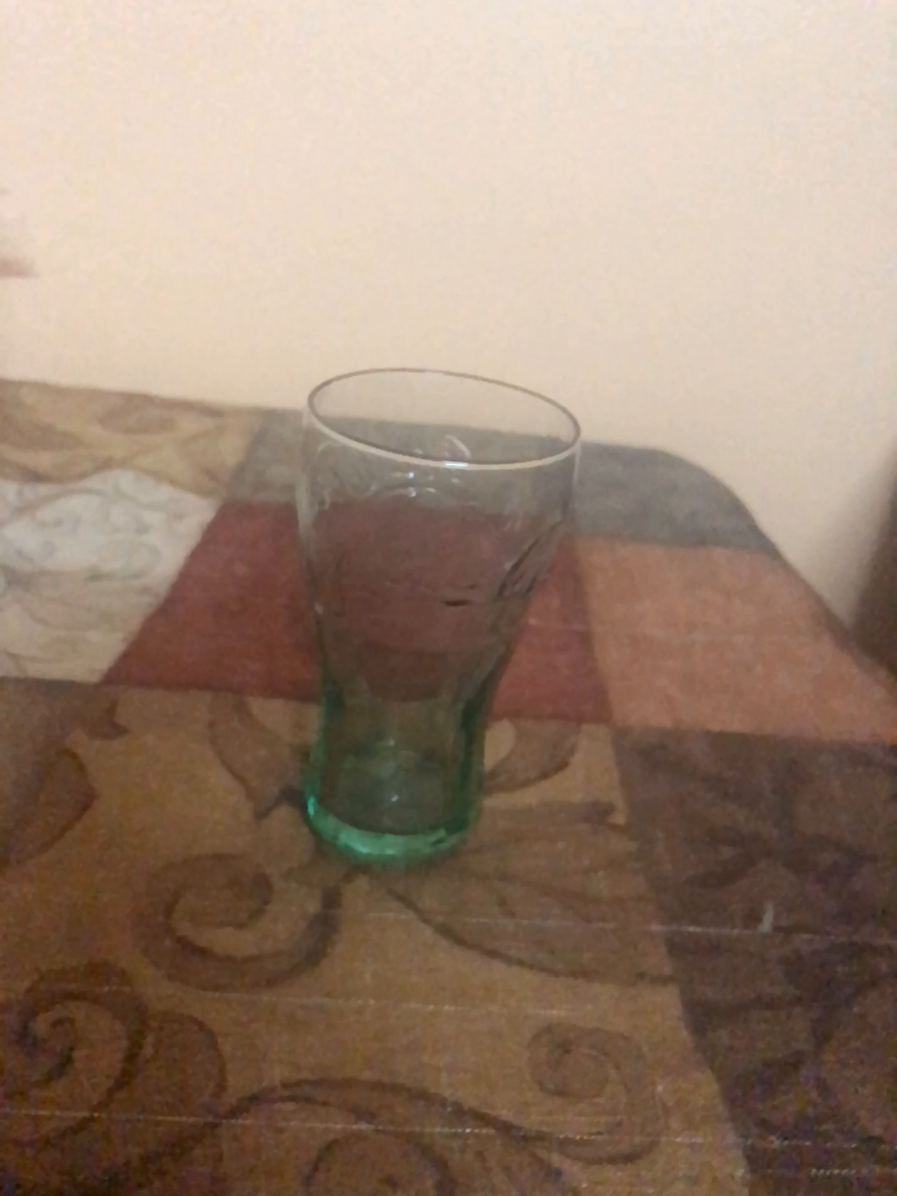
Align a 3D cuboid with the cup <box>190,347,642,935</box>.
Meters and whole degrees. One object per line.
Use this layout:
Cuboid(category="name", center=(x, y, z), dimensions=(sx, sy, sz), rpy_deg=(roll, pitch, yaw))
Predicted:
Cuboid(category="cup", center=(-0.012, 0.005, 0.249), dimensions=(0.070, 0.110, 0.070), rpy_deg=(7, 26, -3))
